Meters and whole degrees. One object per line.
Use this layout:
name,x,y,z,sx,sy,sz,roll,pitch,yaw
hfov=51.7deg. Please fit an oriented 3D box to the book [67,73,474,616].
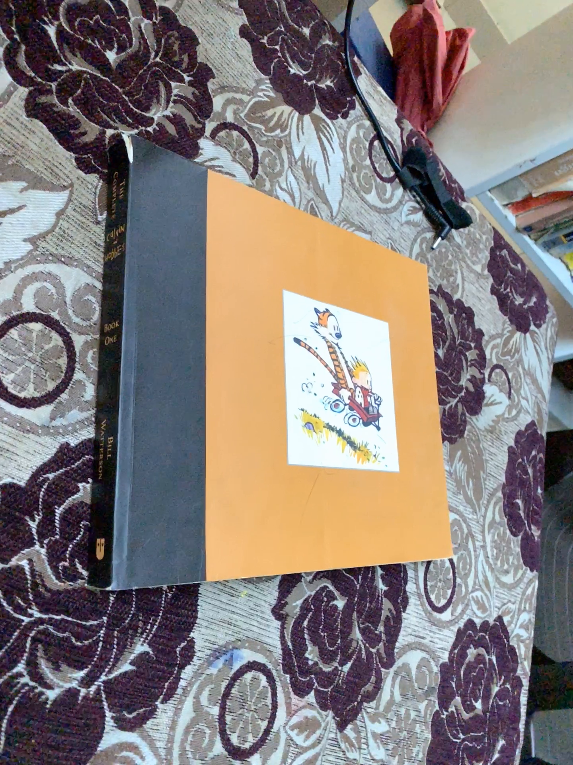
book,0.009,-0.011,0.372,0.271,0.040,0.260,10,71,-41
